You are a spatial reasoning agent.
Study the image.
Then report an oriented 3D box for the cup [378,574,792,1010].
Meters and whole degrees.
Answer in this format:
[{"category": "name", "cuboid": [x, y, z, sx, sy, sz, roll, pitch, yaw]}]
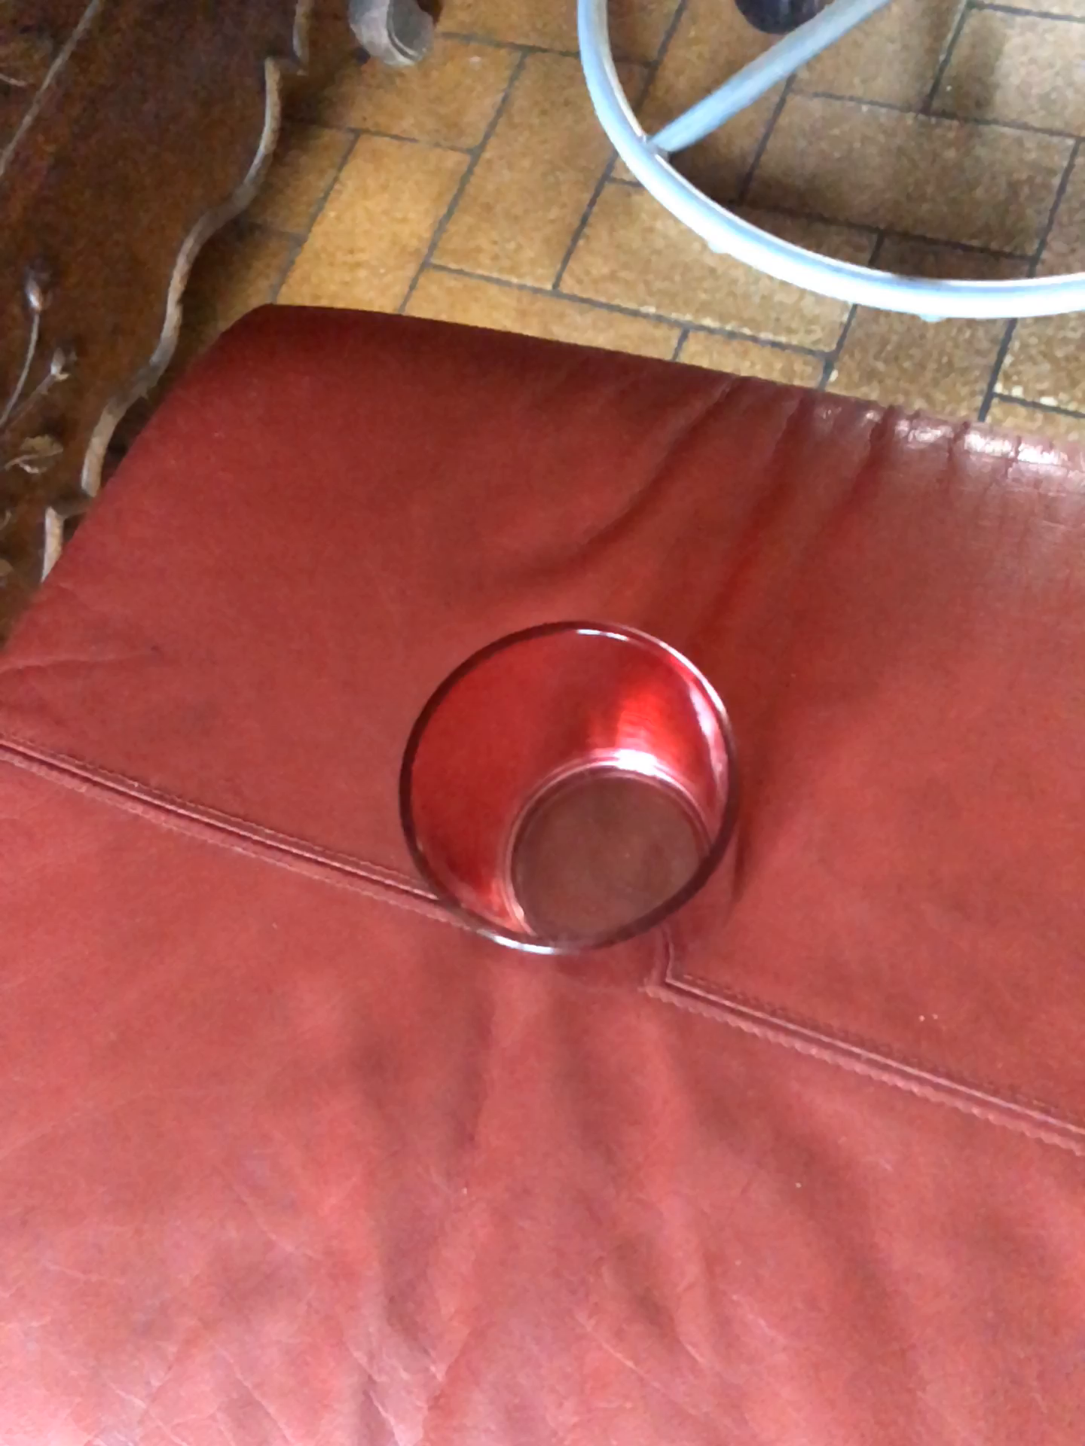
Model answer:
[{"category": "cup", "cuboid": [0.017, 0.020, 0.275, 0.070, 0.090, 0.070, -3, 71, 10]}]
